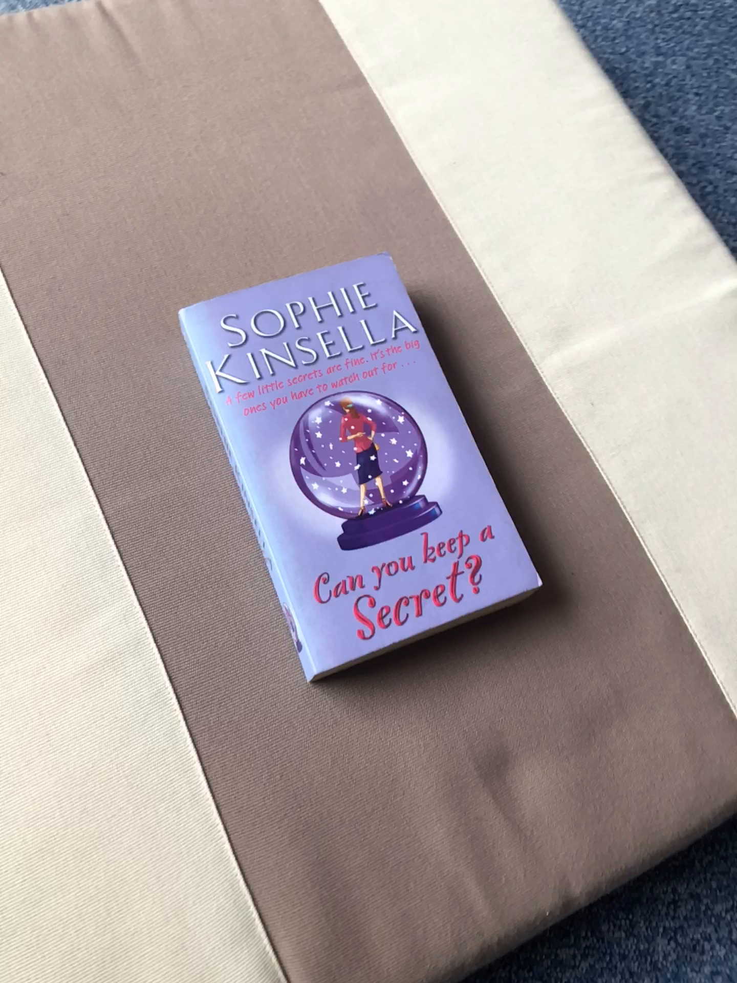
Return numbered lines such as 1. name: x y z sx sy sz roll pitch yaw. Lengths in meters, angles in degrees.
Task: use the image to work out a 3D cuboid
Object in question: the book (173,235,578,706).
1. book: -0.002 -0.015 0.355 0.110 0.040 0.180 -18 74 -15
